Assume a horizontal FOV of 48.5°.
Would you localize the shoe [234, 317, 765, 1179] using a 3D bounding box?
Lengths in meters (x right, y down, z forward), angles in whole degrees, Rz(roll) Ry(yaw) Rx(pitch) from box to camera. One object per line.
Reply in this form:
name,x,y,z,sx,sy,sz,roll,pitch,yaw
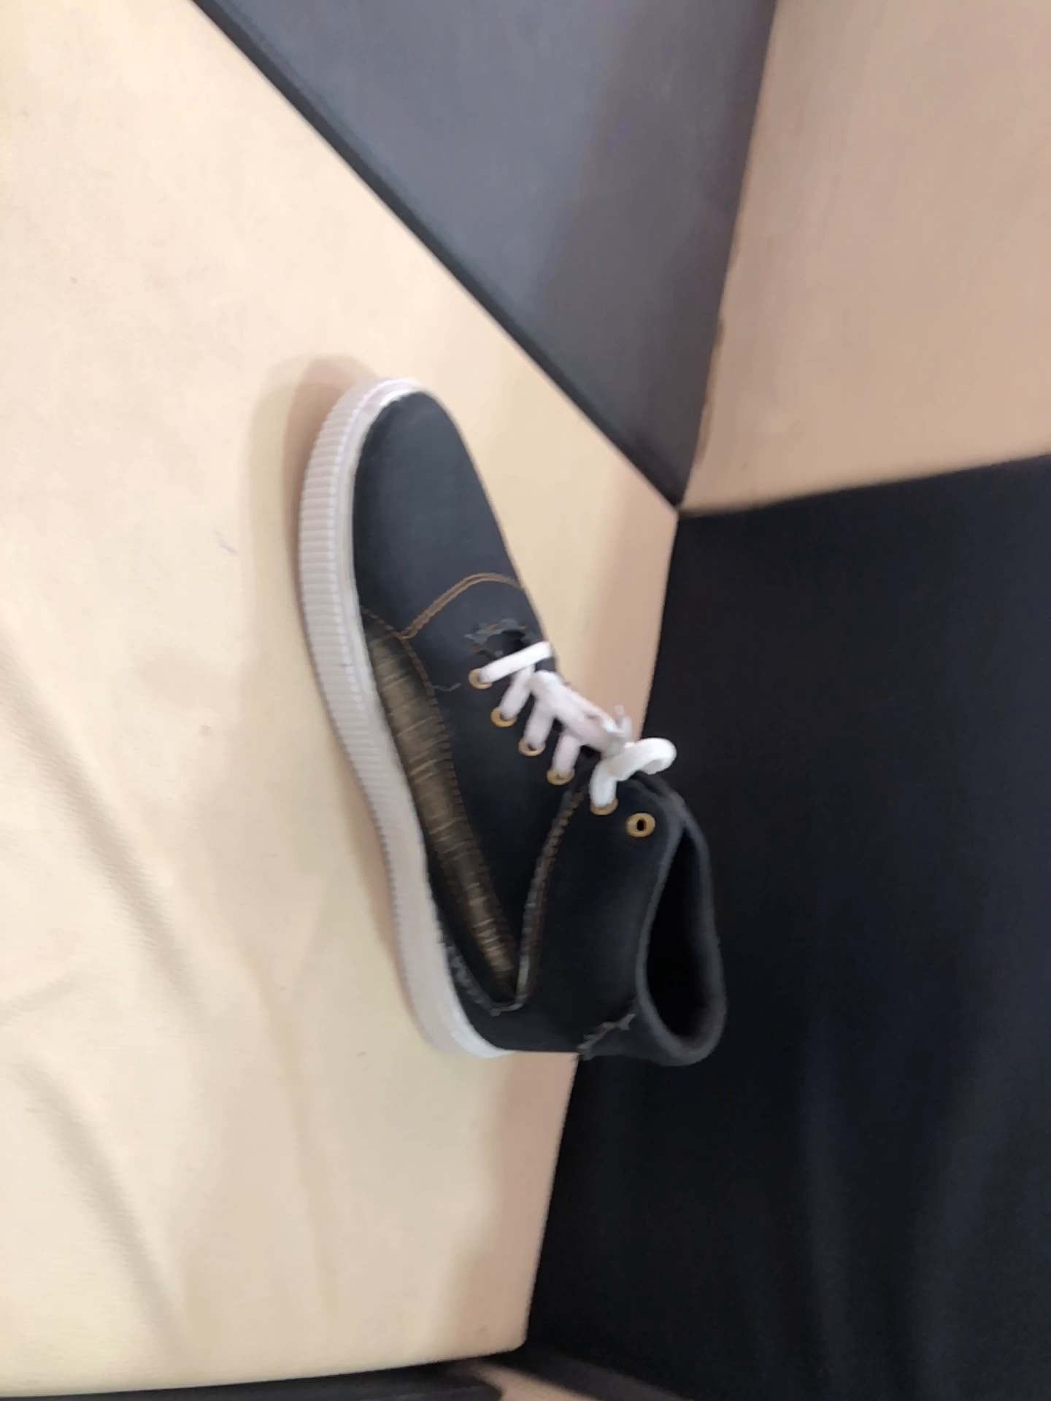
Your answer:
shoe,0.000,0.019,0.460,0.101,0.109,0.300,-31,114,-50
